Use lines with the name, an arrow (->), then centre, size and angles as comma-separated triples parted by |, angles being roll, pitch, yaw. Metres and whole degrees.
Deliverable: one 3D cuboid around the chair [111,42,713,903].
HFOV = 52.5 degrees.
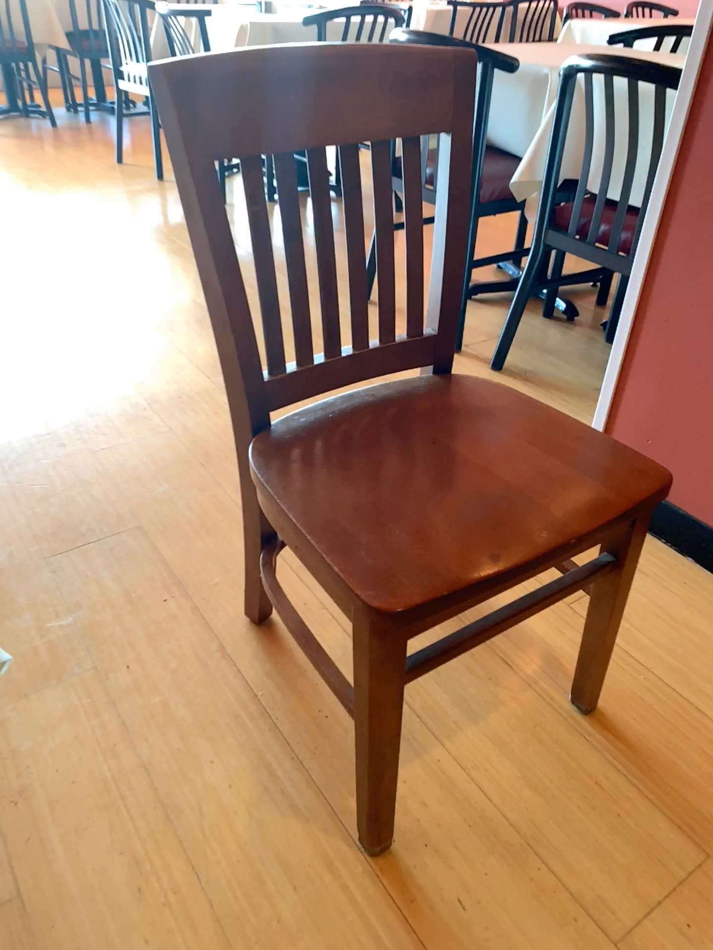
chair -> 0.098, -0.052, 0.970 | 0.541, 0.875, 0.573 | -19, 39, -28
